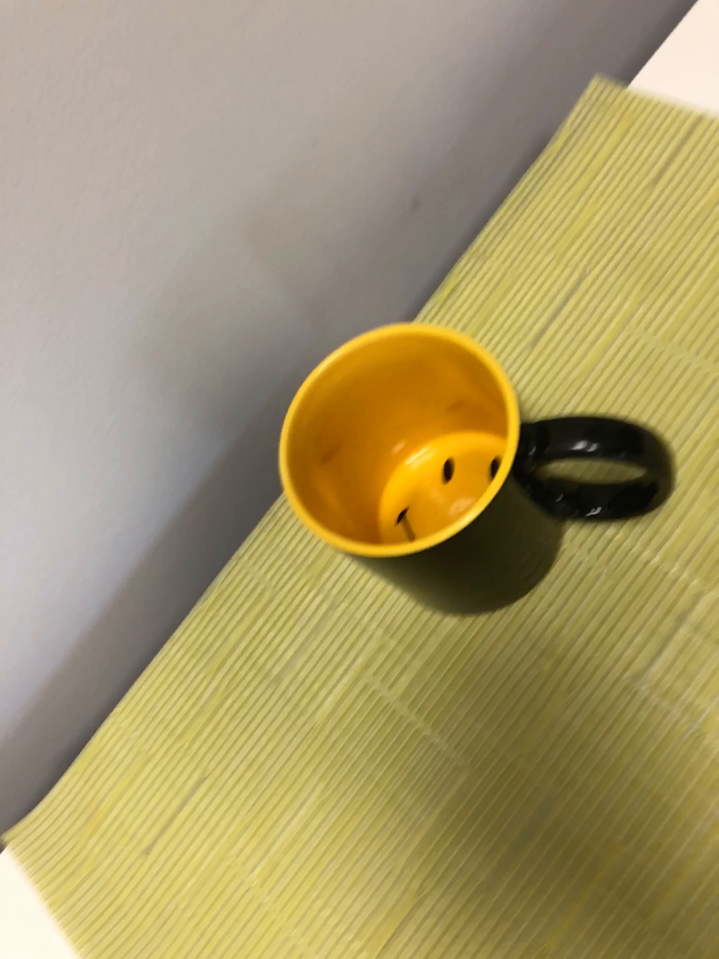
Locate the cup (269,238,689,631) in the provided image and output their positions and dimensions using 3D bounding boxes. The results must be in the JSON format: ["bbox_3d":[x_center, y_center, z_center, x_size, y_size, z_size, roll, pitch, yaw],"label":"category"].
[{"bbox_3d":[0.046,-0.004,0.287,0.119,0.104,0.088,-9,66,20],"label":"cup"}]
